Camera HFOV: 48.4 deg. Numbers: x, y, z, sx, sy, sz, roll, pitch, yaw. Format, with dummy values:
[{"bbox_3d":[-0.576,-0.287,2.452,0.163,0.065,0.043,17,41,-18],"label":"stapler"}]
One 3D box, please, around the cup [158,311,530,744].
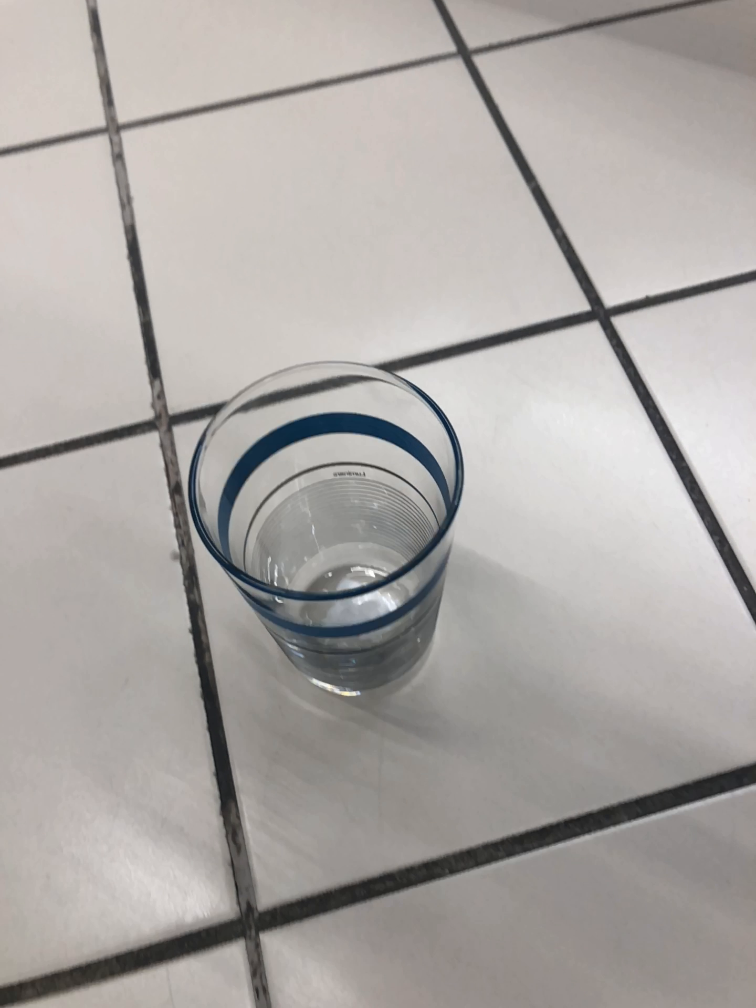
[{"bbox_3d":[-0.009,0.013,0.260,0.079,0.102,0.080,-2,62,3],"label":"cup"}]
